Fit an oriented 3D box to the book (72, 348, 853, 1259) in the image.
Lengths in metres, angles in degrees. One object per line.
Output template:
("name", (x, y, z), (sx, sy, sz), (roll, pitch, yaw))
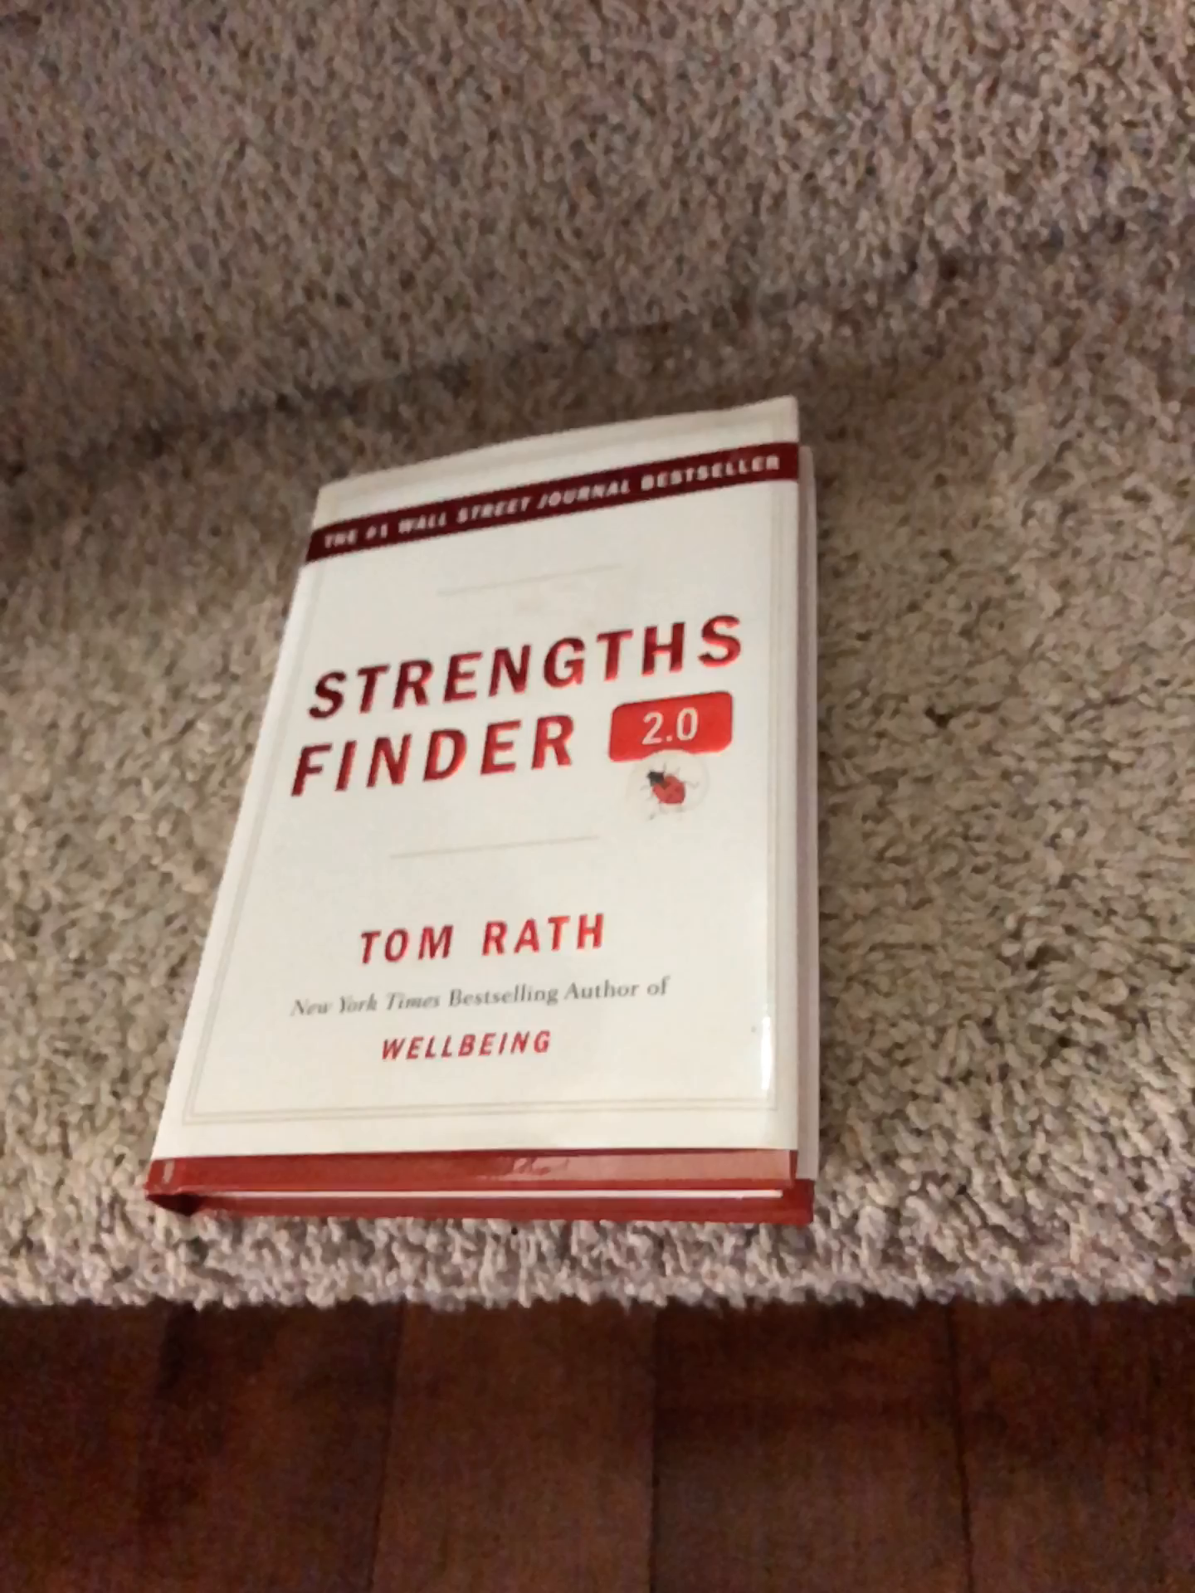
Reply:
("book", (-0.018, -0.006, 0.282), (0.136, 0.029, 0.190), (-5, 58, 18))
